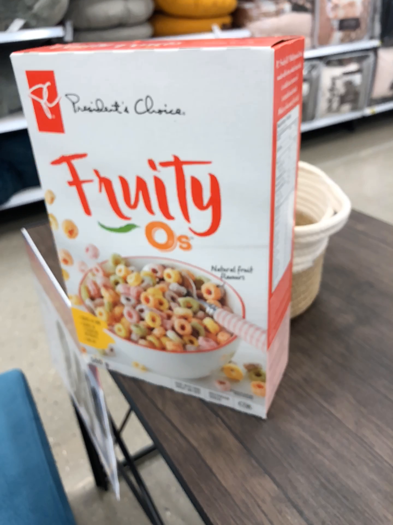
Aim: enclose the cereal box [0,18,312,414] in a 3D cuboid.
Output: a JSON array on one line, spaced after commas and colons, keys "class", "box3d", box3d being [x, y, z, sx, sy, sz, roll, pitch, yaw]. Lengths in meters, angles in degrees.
[{"class": "cereal box", "box3d": [-0.033, -0.035, 0.368, 0.220, 0.279, 0.080, 10, 33, 23]}]
